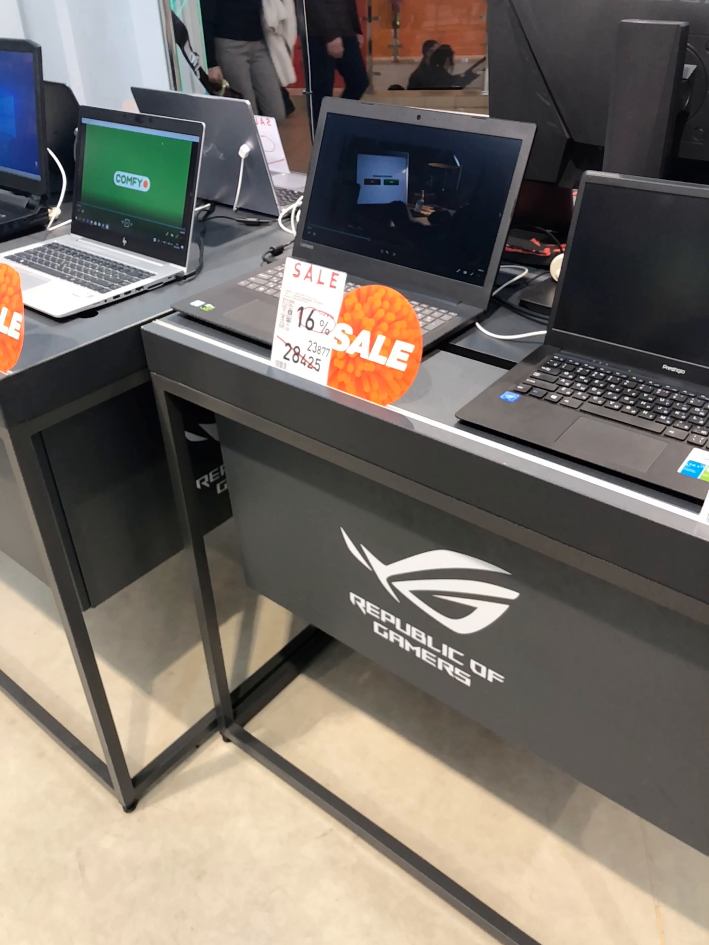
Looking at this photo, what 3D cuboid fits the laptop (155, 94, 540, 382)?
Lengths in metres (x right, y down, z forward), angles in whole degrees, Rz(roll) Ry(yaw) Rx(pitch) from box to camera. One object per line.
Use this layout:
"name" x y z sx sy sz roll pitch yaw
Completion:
"laptop" -0.008 -0.355 1.098 0.383 0.235 0.335 25 44 34
